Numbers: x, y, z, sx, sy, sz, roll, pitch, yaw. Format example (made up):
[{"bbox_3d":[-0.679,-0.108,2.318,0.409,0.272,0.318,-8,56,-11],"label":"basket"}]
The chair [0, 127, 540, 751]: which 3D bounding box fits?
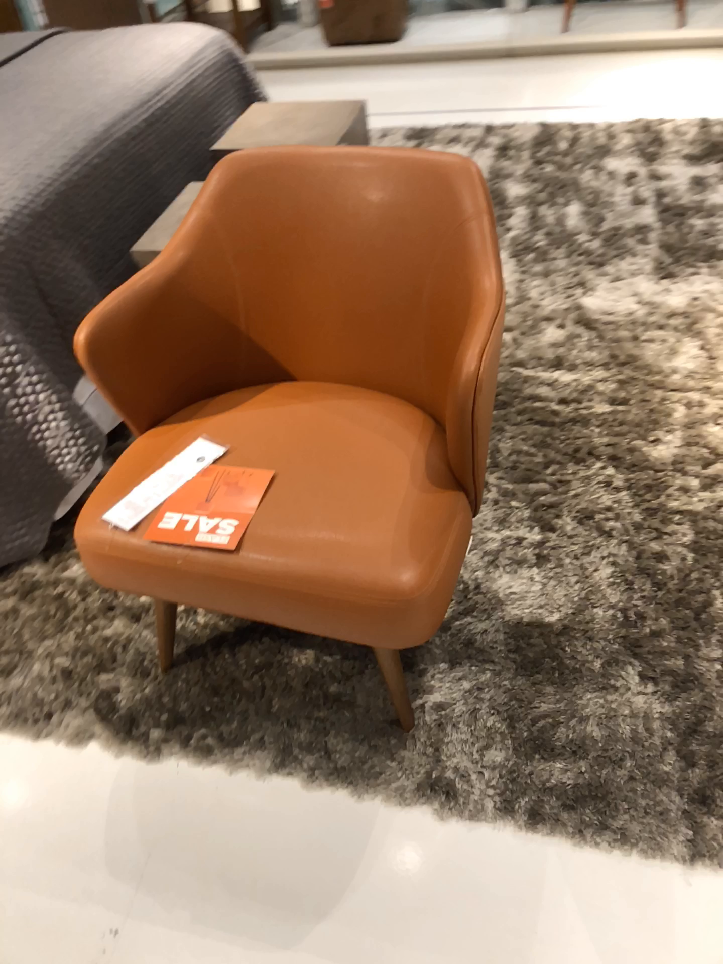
[{"bbox_3d":[-0.075,-0.101,1.315,0.591,0.704,0.655,9,45,18],"label":"chair"}]
